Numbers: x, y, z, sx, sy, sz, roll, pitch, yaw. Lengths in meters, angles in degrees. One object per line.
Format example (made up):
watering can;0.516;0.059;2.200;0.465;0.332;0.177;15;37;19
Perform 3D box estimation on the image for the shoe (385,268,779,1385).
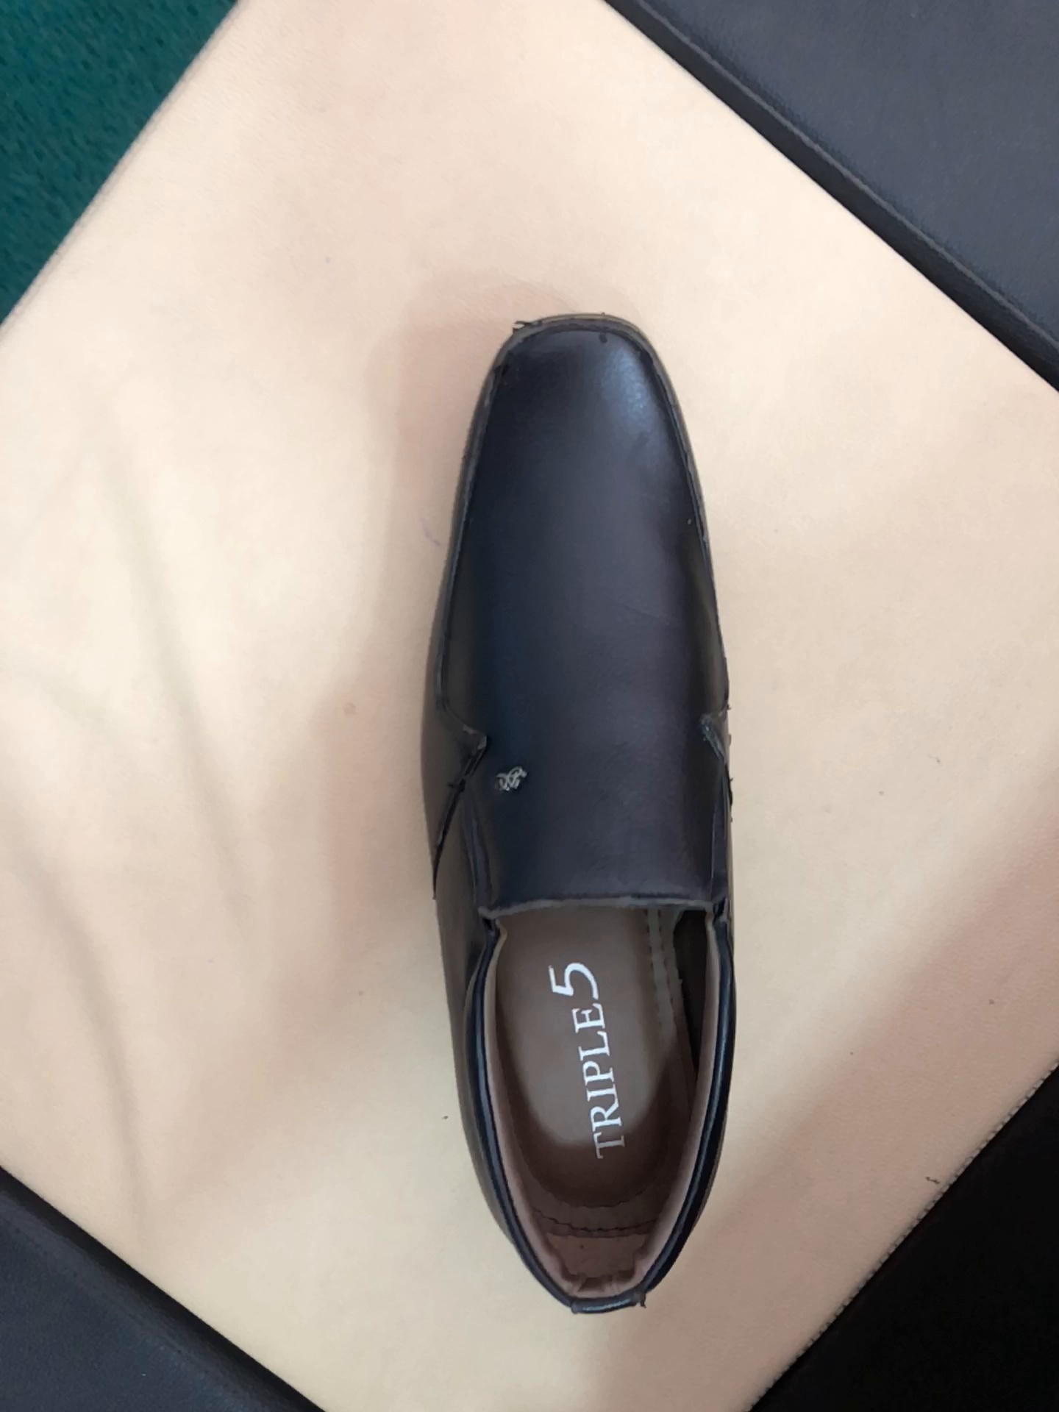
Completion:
shoe;0.016;0.035;0.358;0.100;0.090;0.300;-1;95;0
